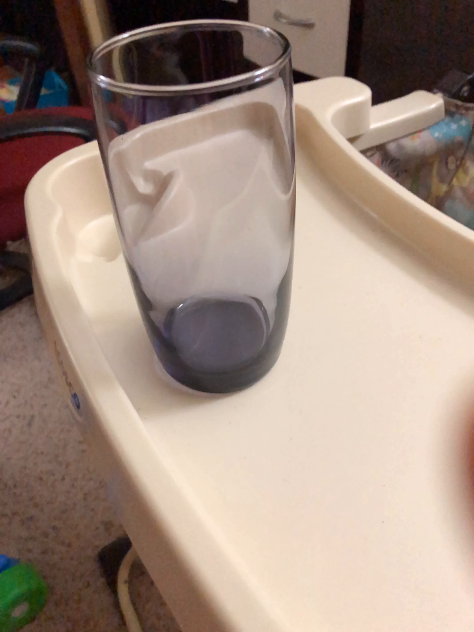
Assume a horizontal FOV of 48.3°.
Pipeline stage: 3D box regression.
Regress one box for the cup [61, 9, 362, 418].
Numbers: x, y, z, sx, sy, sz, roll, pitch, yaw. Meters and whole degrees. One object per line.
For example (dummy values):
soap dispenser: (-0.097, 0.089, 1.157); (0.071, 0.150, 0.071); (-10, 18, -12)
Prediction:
cup: (-0.009, -0.038, 0.222); (0.084, 0.134, 0.084); (-3, 43, 3)
